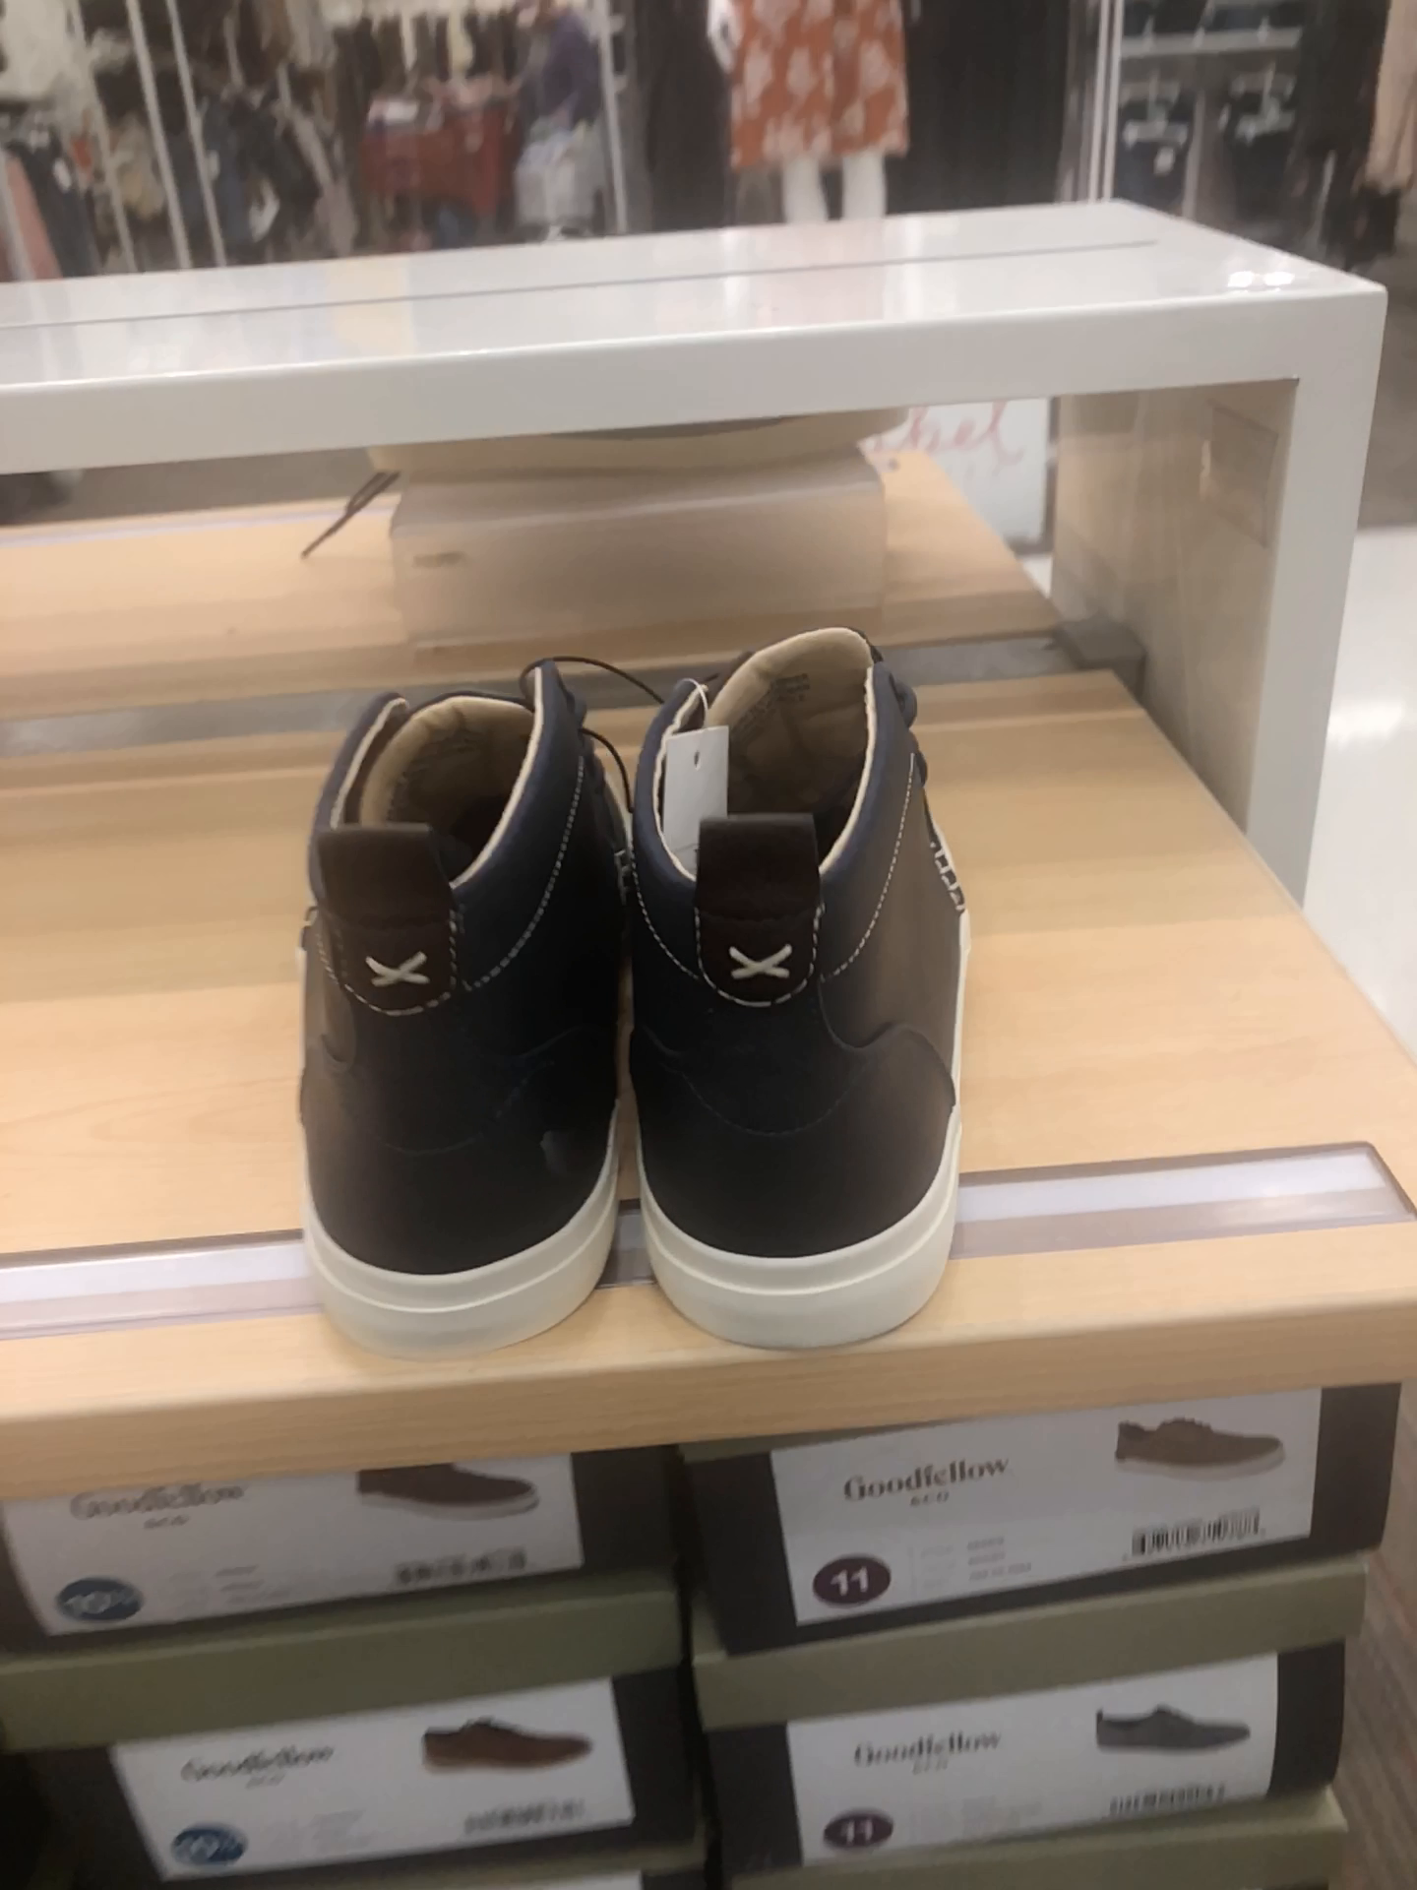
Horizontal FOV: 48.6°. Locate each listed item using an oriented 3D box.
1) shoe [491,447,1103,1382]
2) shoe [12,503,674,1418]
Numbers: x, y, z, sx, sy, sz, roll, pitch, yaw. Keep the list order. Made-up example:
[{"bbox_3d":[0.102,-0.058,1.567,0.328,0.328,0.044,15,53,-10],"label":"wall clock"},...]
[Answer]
[{"bbox_3d":[0.015,-0.033,0.418,0.106,0.125,0.268,-3,31,0],"label":"shoe"},{"bbox_3d":[-0.077,-0.020,0.416,0.109,0.114,0.259,-5,31,-3],"label":"shoe"}]
